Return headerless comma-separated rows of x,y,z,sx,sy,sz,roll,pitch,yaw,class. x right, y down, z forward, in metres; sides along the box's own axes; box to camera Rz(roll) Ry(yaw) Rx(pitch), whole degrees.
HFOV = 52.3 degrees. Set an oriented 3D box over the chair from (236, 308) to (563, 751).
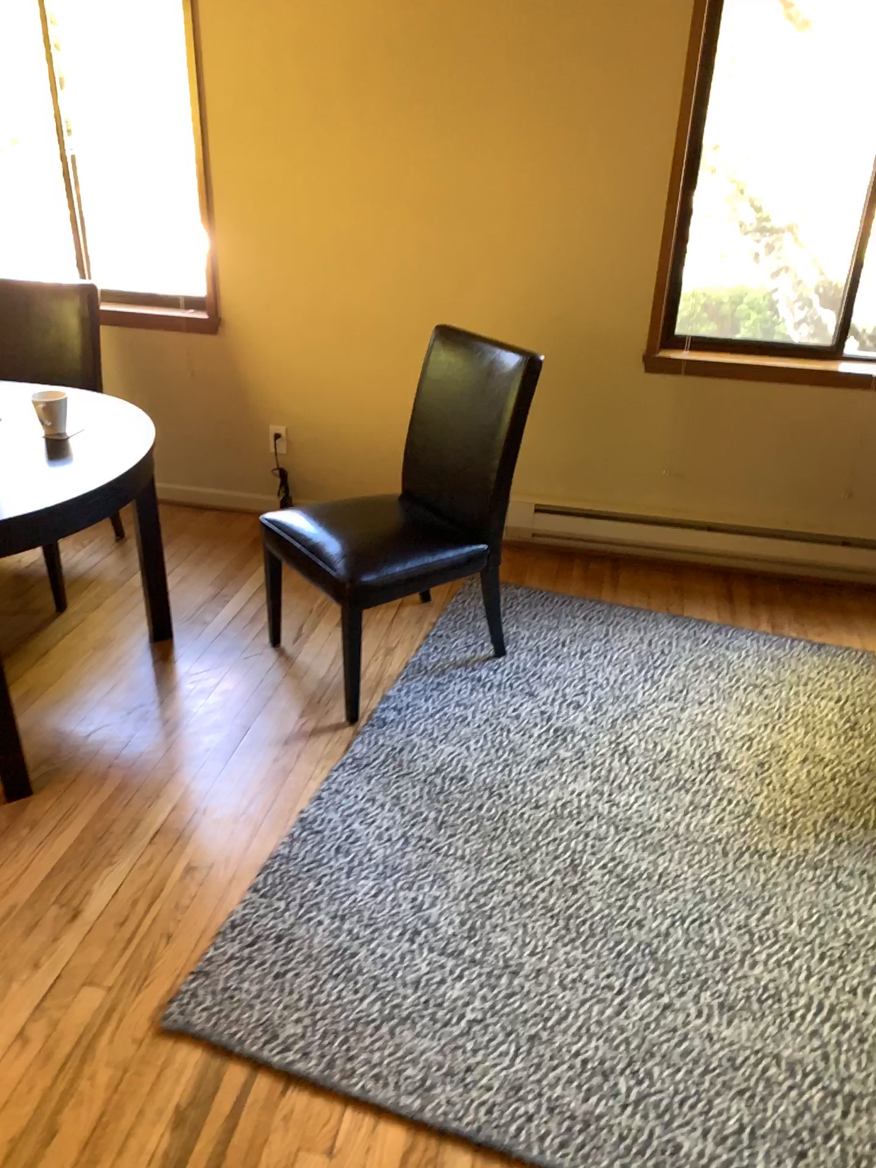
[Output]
-0.120,-0.194,2.616,0.671,1.034,0.563,-18,34,-33,chair
